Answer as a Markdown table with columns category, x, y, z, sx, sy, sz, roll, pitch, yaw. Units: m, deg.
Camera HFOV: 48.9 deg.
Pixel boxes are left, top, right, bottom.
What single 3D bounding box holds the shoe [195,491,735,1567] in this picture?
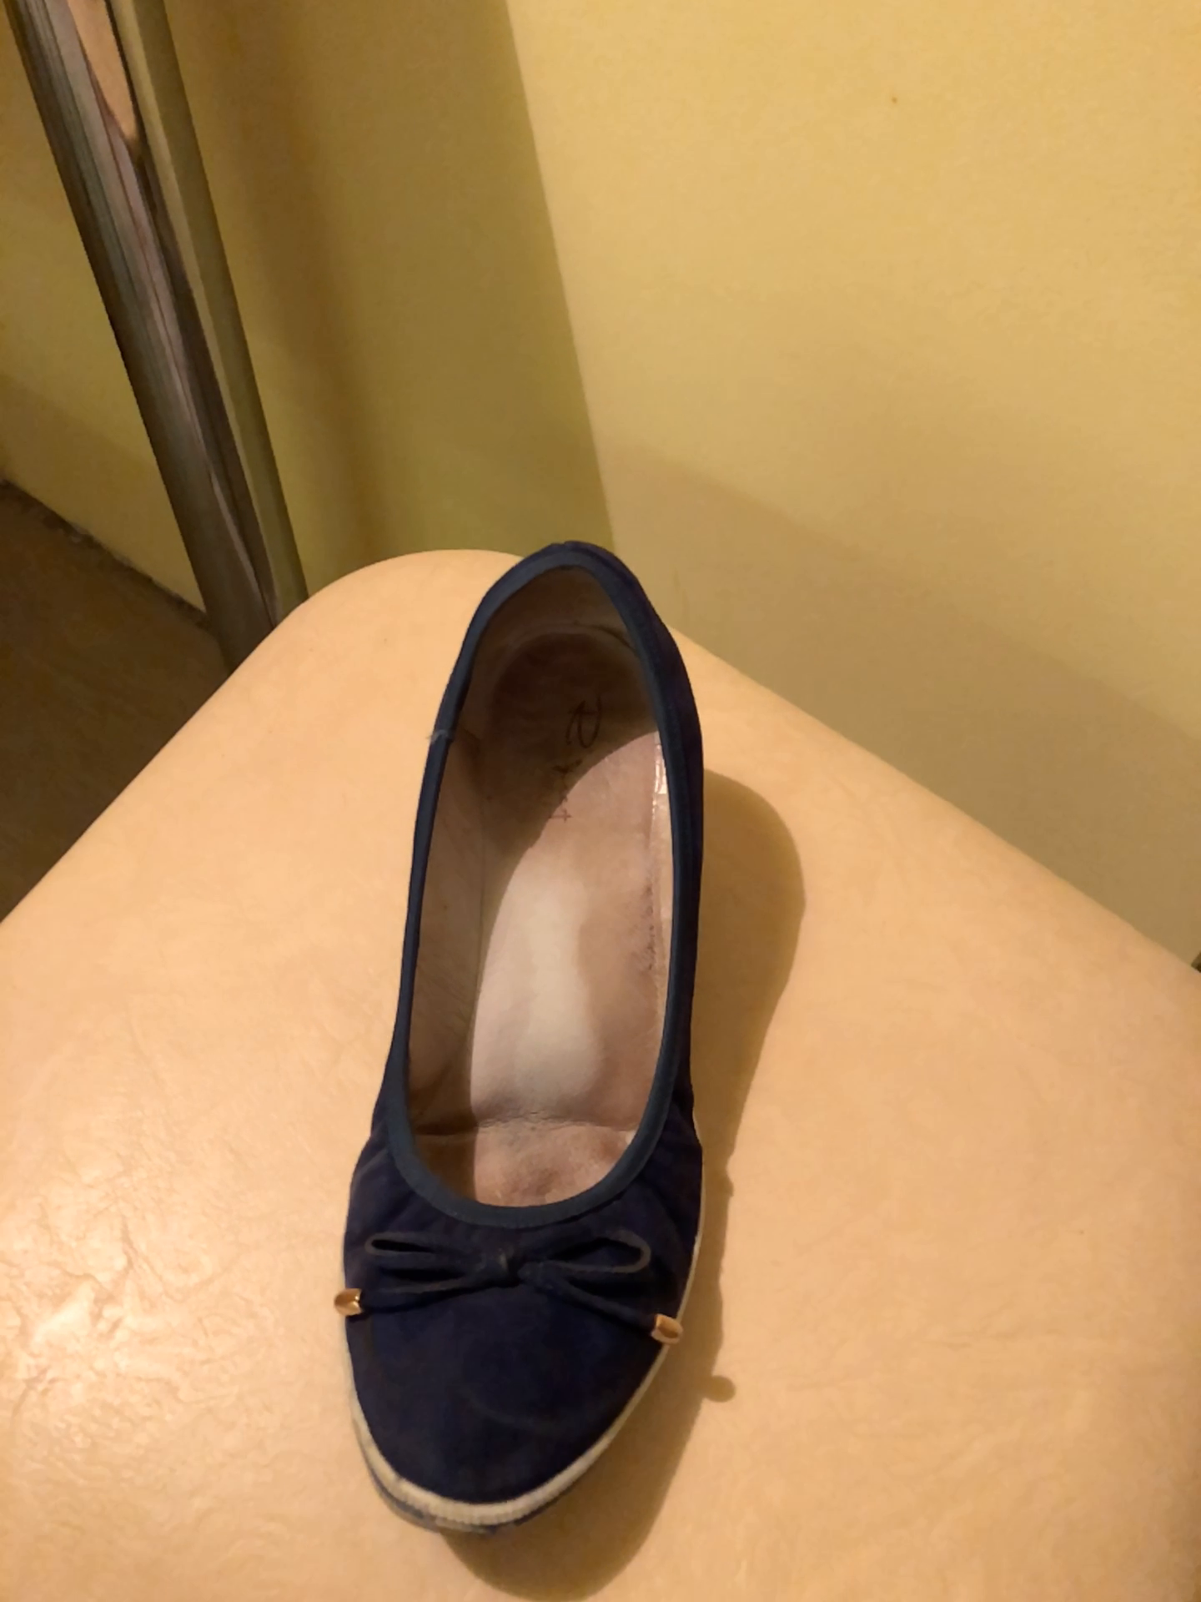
| category | x | y | z | sx | sy | sz | roll | pitch | yaw |
| --- | --- | --- | --- | --- | --- | --- | --- | --- | --- |
| shoe | -0.017 | 0.045 | 0.343 | 0.090 | 0.099 | 0.252 | 4 | 54 | 2 |
